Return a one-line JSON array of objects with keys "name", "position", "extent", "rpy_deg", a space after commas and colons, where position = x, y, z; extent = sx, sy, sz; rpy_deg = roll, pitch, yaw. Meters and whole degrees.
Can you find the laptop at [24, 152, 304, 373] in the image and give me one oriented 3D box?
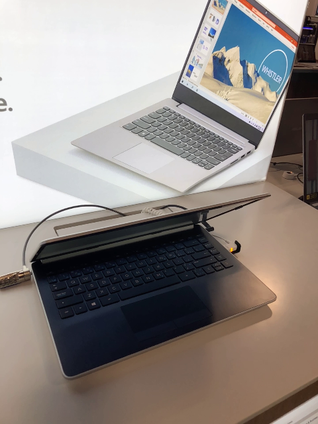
[{"name": "laptop", "position": [-0.010, 0.037, 0.502], "extent": [0.302, 0.155, 0.226], "rpy_deg": [-12, 31, -24]}]
